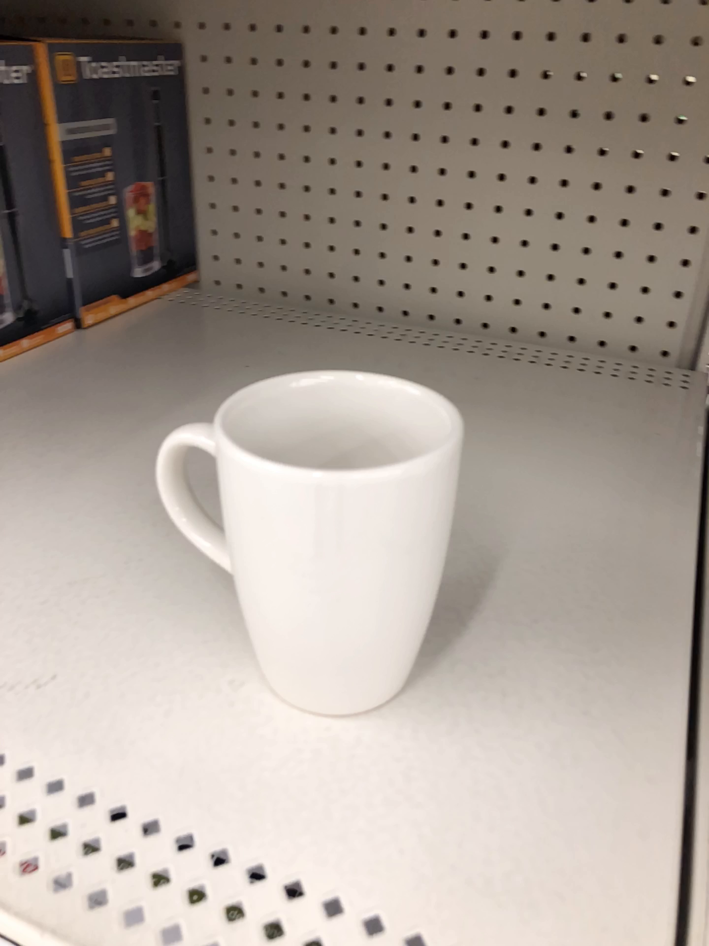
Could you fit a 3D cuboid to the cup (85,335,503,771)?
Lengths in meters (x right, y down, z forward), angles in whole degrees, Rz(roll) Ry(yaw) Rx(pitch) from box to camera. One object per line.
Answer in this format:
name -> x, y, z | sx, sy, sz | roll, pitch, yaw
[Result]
cup -> -0.023, 0.021, 0.301 | 0.126, 0.105, 0.081 | 20, 34, 30
